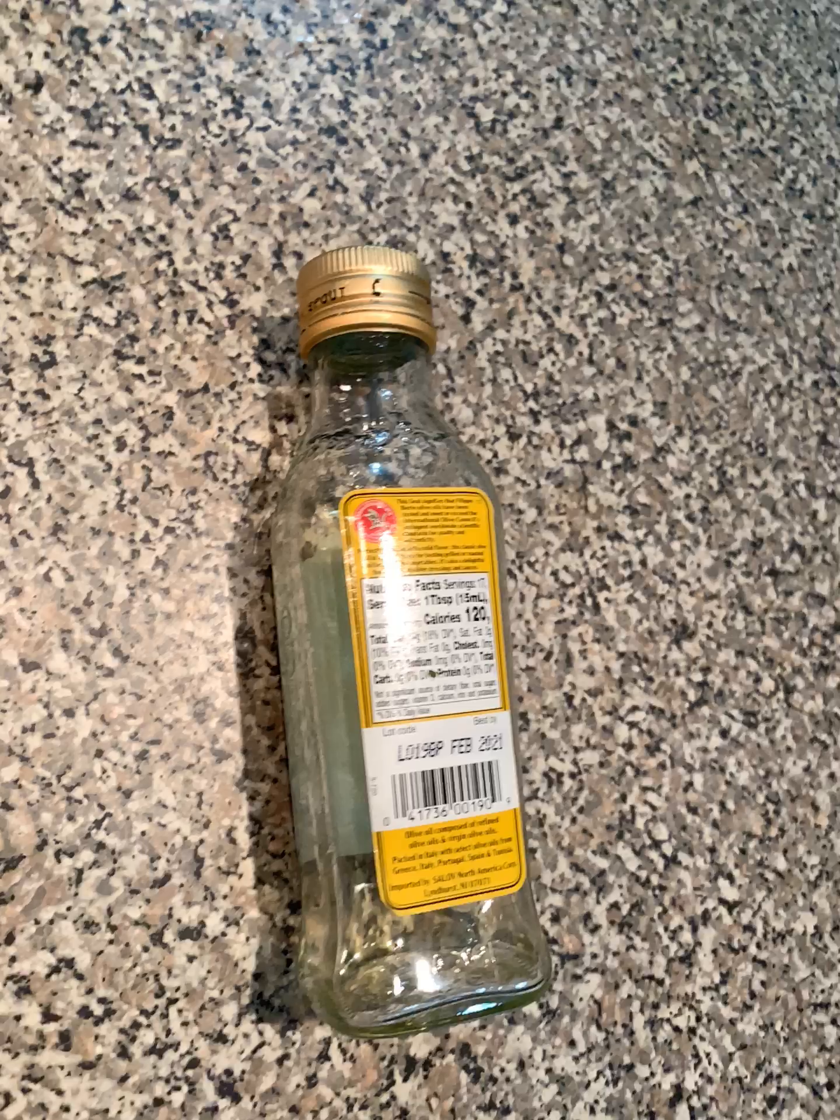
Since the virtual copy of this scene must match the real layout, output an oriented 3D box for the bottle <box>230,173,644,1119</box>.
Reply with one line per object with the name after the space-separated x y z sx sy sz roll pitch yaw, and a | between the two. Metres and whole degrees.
-0.003 0.014 0.202 0.060 0.060 0.180 -2 80 -22 | bottle
